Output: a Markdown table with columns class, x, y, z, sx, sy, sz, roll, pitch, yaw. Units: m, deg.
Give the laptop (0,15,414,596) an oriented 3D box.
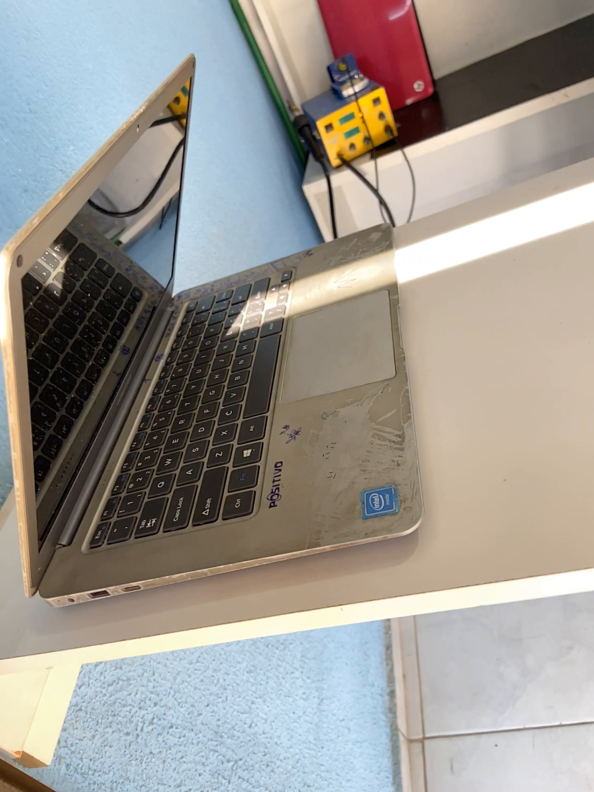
| class | x | y | z | sx | sy | sz | roll | pitch | yaw |
| --- | --- | --- | --- | --- | --- | --- | --- | --- | --- |
| laptop | -0.066 | -0.081 | 0.387 | 0.212 | 0.167 | 0.328 | -16 | 36 | 18 |
